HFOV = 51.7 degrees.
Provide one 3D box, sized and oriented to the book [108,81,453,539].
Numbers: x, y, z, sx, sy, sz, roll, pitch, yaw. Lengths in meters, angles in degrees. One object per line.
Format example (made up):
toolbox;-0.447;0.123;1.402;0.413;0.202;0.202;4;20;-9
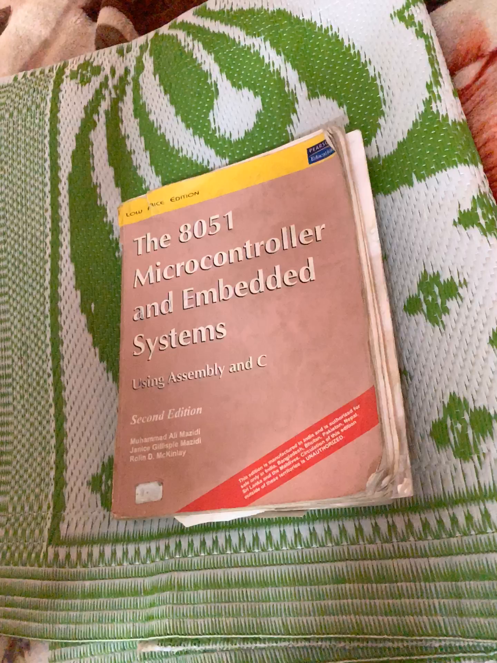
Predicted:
book;0.001;-0.010;0.392;0.231;0.050;0.301;-14;68;25
